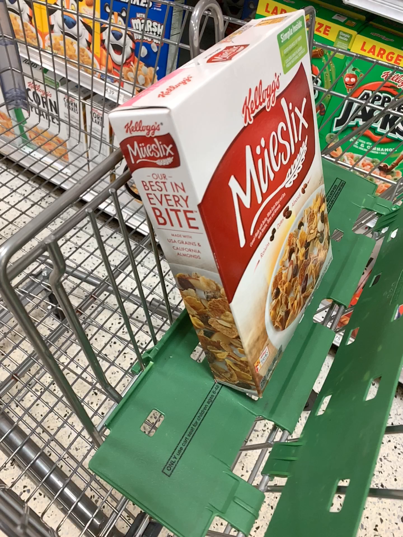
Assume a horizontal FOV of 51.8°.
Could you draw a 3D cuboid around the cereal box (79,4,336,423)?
[{"bbox_3d":[0.043,-0.039,0.350,0.060,0.268,0.202,9,45,33],"label":"cereal box"}]
